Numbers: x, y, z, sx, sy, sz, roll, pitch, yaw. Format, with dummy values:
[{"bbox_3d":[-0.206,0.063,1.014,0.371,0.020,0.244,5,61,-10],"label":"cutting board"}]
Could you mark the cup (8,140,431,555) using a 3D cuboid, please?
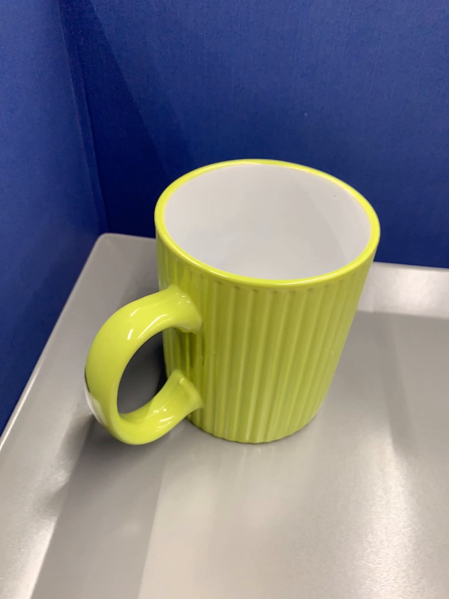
[{"bbox_3d":[0.001,0.010,0.206,0.129,0.098,0.091,-32,51,-32],"label":"cup"}]
